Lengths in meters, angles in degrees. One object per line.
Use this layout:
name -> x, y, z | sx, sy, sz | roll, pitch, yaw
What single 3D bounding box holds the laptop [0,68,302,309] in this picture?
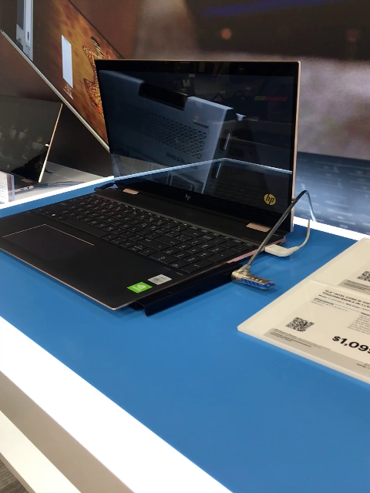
laptop -> -0.109, -0.108, 0.630 | 0.280, 0.211, 0.361 | -27, 34, -36
